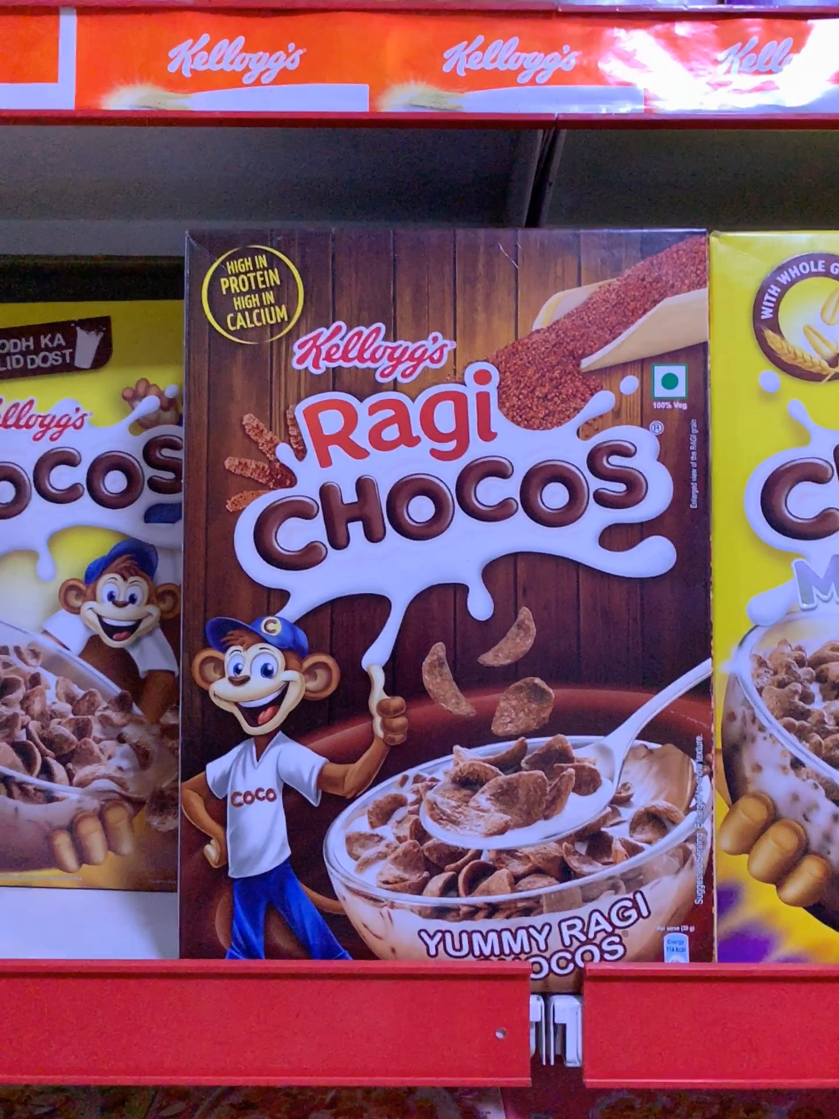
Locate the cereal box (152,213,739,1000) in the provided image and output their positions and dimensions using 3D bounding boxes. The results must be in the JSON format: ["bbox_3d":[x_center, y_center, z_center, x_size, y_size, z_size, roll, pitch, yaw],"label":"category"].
[{"bbox_3d":[0.008,0.014,0.301,0.180,0.240,0.060,0,-1,3],"label":"cereal box"}]
